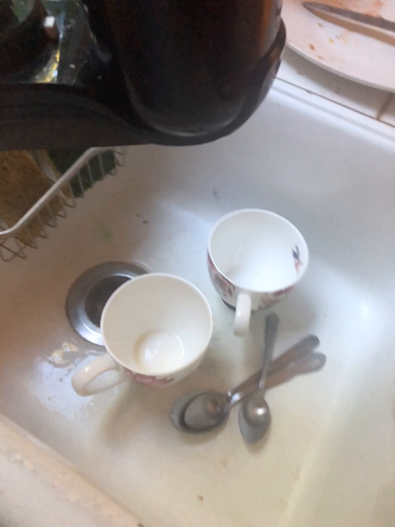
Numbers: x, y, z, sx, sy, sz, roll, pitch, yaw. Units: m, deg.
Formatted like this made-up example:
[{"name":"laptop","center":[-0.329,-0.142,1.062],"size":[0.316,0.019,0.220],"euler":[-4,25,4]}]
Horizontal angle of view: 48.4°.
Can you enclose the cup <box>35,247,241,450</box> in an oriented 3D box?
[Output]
[{"name":"cup","center":[-0.050,0.073,0.399],"size":[0.141,0.070,0.100],"euler":[-36,67,-25]}]

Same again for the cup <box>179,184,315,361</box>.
[{"name":"cup","center":[0.053,0.006,0.455],"size":[0.110,0.070,0.151],"euler":[12,56,2]}]
